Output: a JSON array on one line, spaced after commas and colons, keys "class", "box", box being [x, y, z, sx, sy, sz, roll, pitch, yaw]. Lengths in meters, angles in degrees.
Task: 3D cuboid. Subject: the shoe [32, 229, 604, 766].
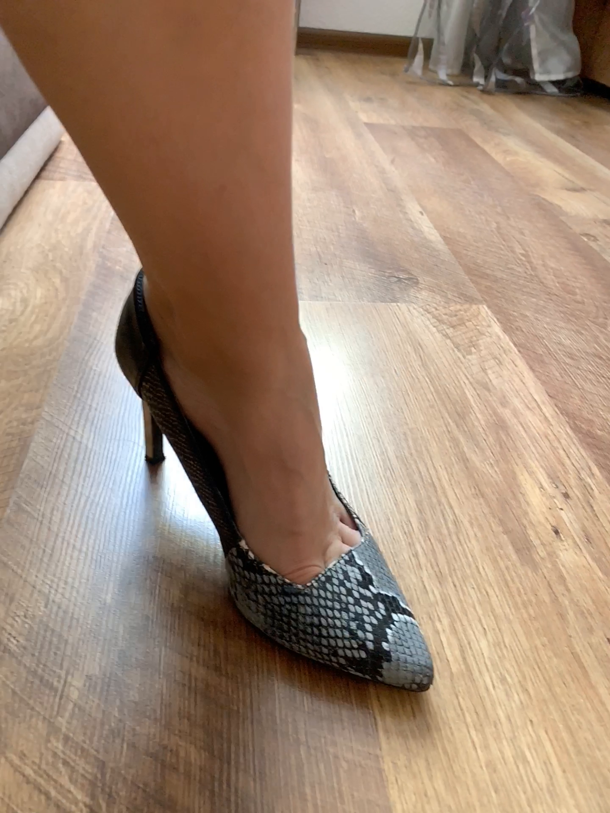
[{"class": "shoe", "box": [-0.016, 0.019, 0.301, 0.251, 0.109, 0.090, 33, 45, 31]}]
